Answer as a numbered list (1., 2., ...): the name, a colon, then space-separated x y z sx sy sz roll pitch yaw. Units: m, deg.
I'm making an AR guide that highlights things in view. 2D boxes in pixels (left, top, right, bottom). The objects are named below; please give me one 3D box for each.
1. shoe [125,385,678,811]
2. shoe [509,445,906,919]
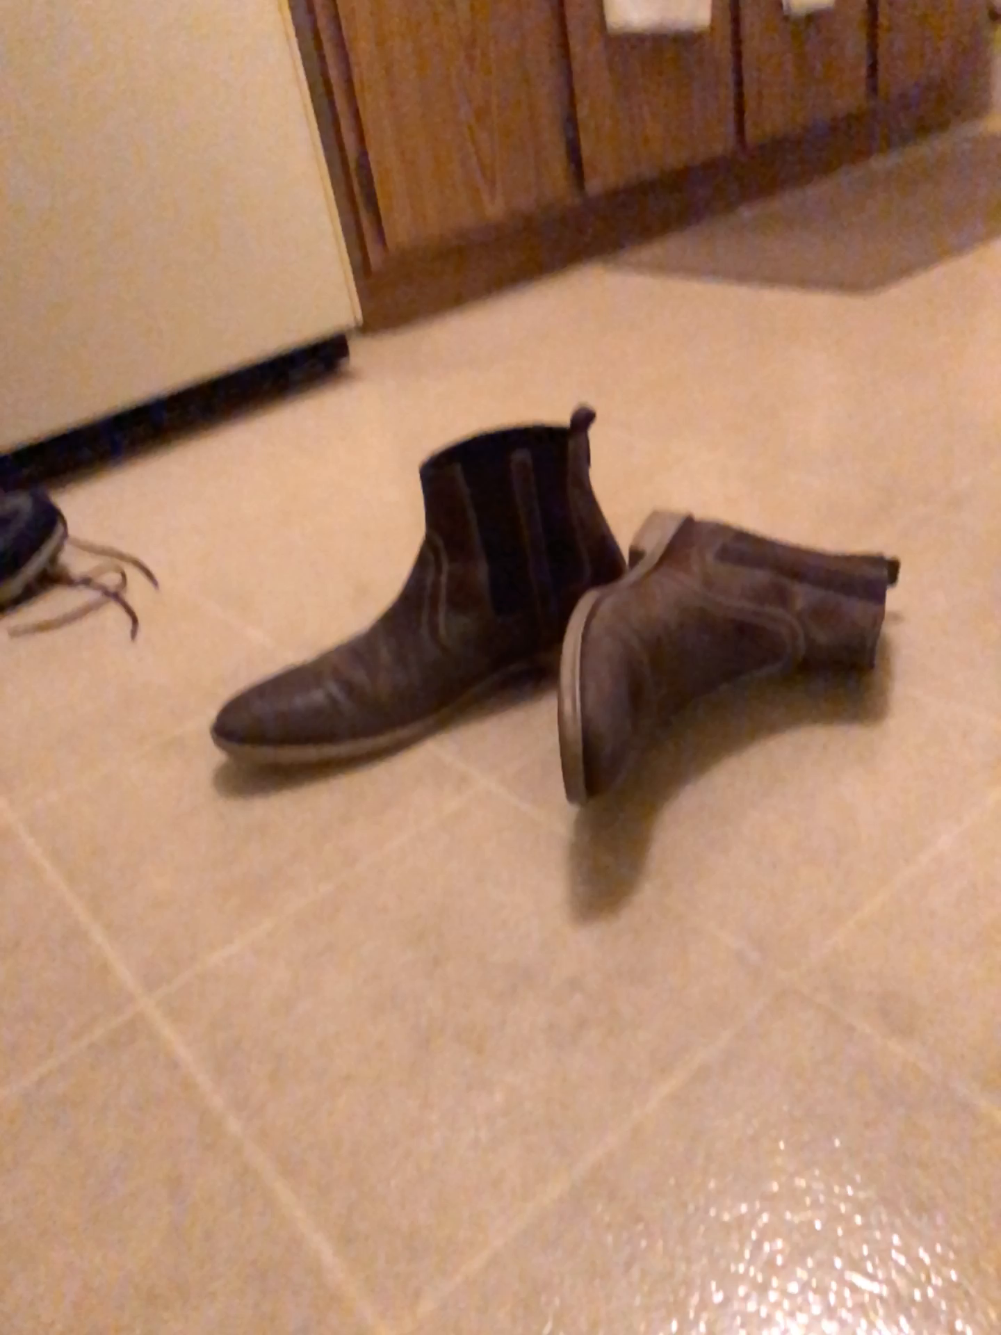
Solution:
1. shoe: -0.058 -0.052 0.716 0.313 0.160 0.112 -18 31 -12
2. shoe: 0.141 -0.018 0.646 0.161 0.110 0.315 4 34 21
